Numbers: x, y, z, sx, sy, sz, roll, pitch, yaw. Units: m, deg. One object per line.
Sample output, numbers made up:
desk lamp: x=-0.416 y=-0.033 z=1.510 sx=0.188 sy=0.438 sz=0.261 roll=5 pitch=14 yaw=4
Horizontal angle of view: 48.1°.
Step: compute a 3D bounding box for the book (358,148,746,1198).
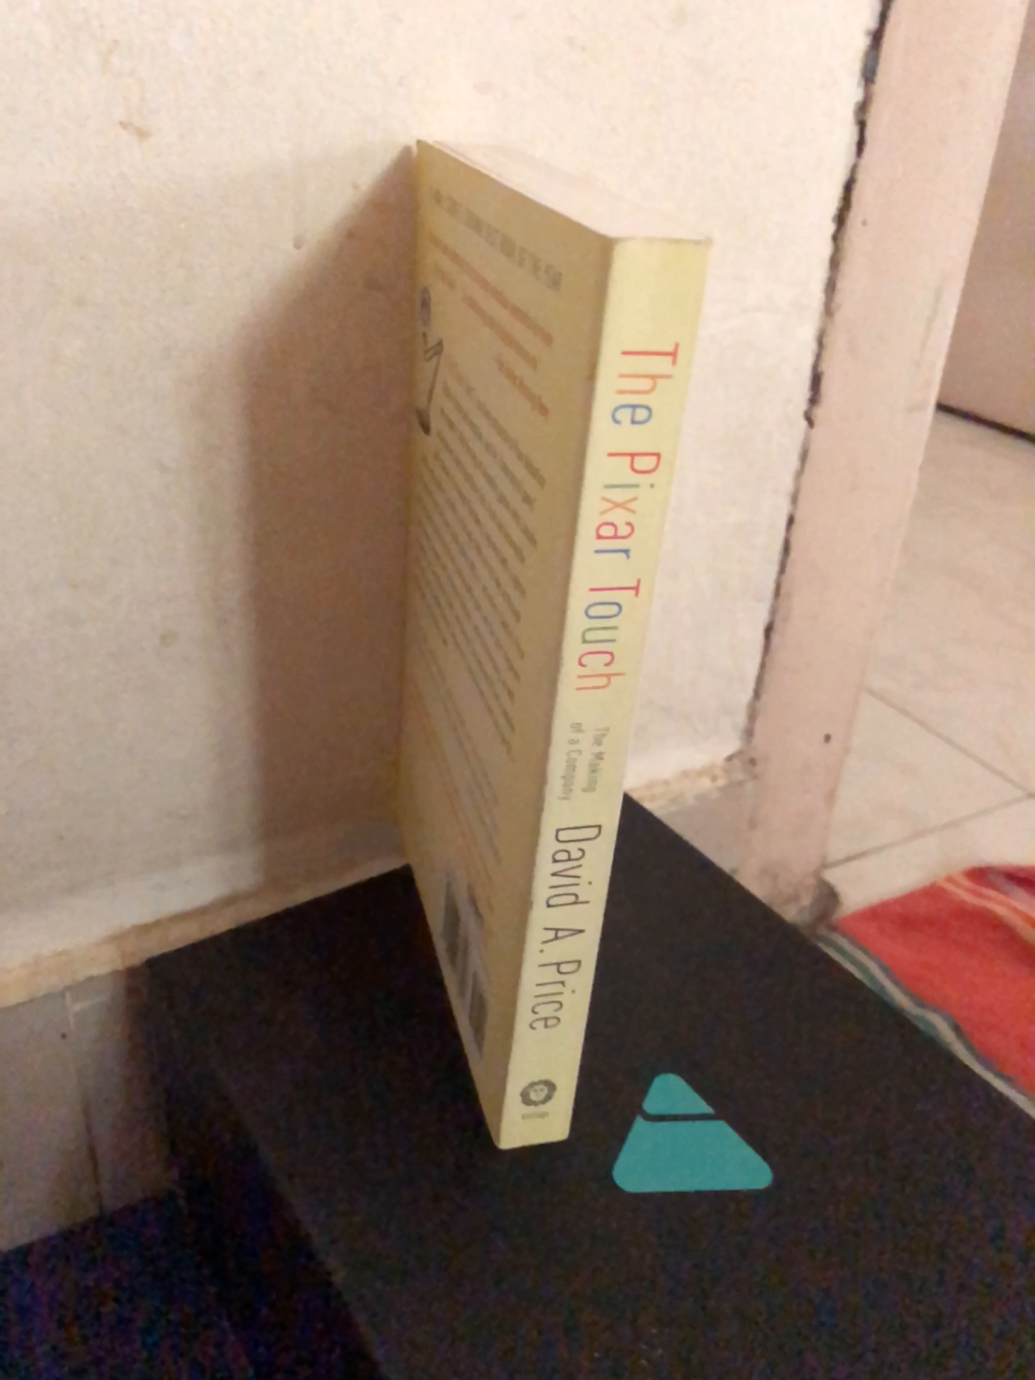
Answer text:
book: x=-0.009 y=-0.010 z=0.271 sx=0.030 sy=0.199 sz=0.141 roll=-3 pitch=29 yaw=-16
